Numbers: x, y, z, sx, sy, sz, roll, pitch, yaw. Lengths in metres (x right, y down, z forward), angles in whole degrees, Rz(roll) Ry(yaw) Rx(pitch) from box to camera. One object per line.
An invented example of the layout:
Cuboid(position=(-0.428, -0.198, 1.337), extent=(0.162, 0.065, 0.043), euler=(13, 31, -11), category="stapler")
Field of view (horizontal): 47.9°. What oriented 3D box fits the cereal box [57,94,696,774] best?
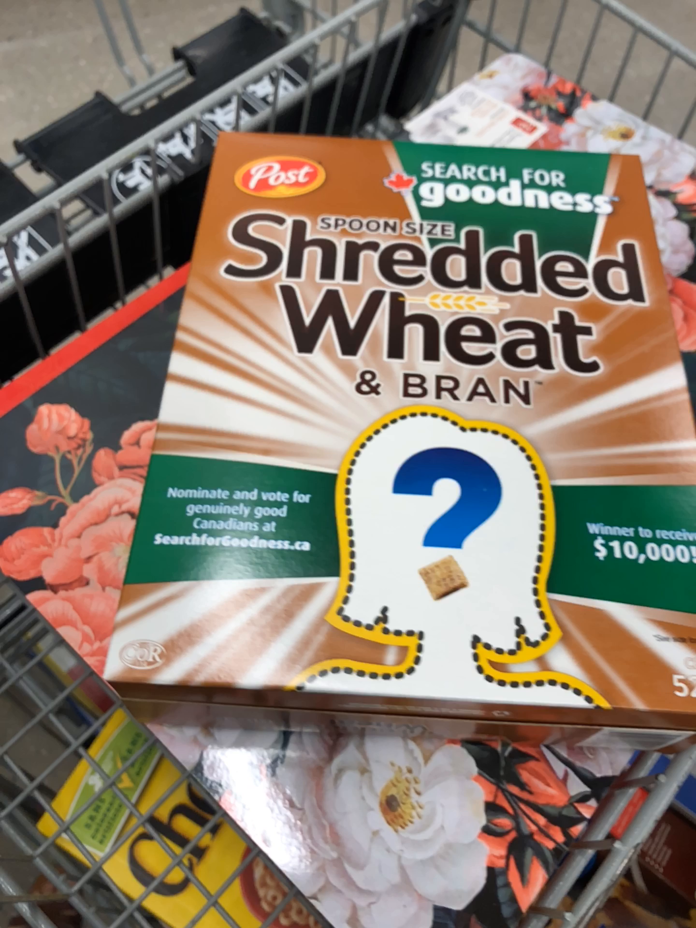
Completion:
Cuboid(position=(0.027, -0.034, 0.349), extent=(0.220, 0.070, 0.300), euler=(4, 57, -2), category="cereal box")
